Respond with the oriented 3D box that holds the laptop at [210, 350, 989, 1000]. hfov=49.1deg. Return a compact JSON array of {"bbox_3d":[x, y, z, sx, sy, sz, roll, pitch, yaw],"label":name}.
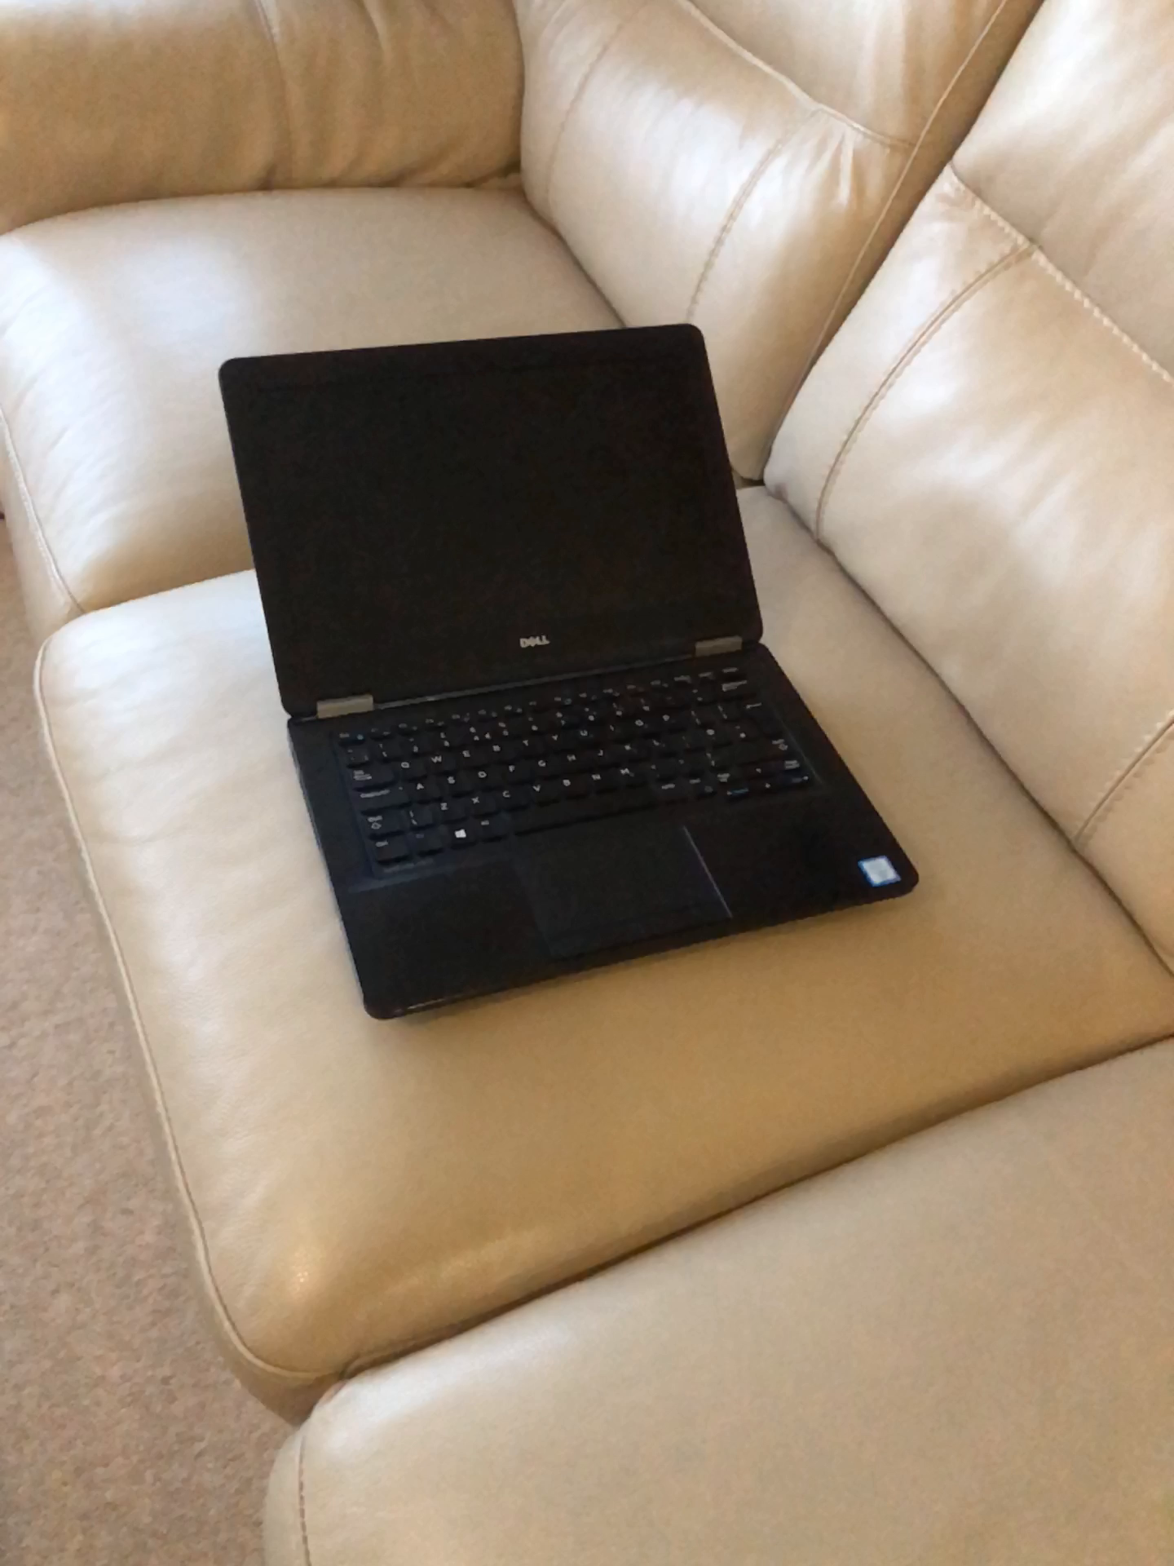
[{"bbox_3d":[-0.020,-0.092,0.728,0.306,0.124,0.376,-11,47,-17],"label":"laptop"}]
